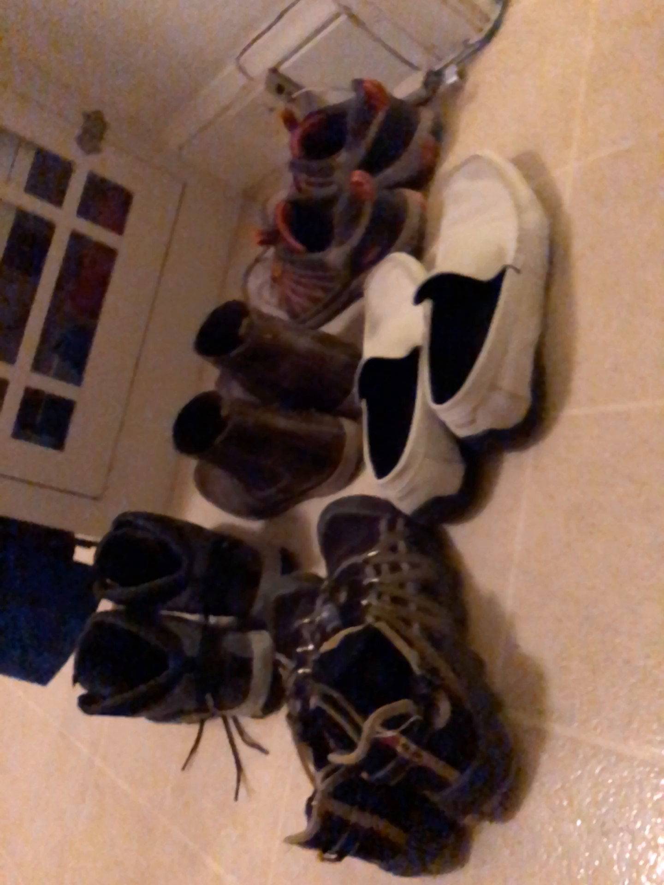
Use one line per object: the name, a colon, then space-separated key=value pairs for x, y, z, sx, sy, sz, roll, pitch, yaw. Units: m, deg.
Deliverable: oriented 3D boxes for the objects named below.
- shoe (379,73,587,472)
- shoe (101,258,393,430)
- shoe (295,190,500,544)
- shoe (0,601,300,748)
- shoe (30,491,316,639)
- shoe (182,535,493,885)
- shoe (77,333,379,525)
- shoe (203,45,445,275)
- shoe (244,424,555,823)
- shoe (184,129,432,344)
shoe: x=0.121 y=-0.145 z=0.636 sx=0.111 sy=0.112 sz=0.304 roll=-27 pitch=52 yaw=46
shoe: x=-0.115 y=-0.096 z=0.877 sx=0.325 sy=0.192 sz=0.110 roll=1 pitch=74 yaw=55
shoe: x=0.050 y=-0.076 z=0.697 sx=0.110 sy=0.112 sz=0.304 roll=-37 pitch=46 yaw=39
shoe: x=-0.215 y=0.253 z=0.820 sx=0.325 sy=0.192 sz=0.110 roll=-17 pitch=59 yaw=50
shoe: x=-0.200 y=0.141 z=0.871 sx=0.325 sy=0.192 sz=0.110 roll=-8 pitch=66 yaw=53
shoe: x=-0.016 y=0.222 z=0.624 sx=0.110 sy=0.122 sz=0.295 roll=-59 pitch=35 yaw=16
shoe: x=-0.131 y=0.005 z=0.850 sx=0.325 sy=0.192 sz=0.110 roll=-16 pitch=60 yaw=51
shoe: x=-0.023 y=-0.323 z=0.901 sx=0.315 sy=0.112 sz=0.110 roll=-11 pitch=64 yaw=52
shoe: x=0.035 y=0.135 z=0.604 sx=0.110 sy=0.122 sz=0.294 roll=-51 pitch=38 yaw=25
shoe: x=-0.042 y=-0.222 z=0.865 sx=0.315 sy=0.112 sz=0.110 roll=-11 pitch=64 yaw=52
